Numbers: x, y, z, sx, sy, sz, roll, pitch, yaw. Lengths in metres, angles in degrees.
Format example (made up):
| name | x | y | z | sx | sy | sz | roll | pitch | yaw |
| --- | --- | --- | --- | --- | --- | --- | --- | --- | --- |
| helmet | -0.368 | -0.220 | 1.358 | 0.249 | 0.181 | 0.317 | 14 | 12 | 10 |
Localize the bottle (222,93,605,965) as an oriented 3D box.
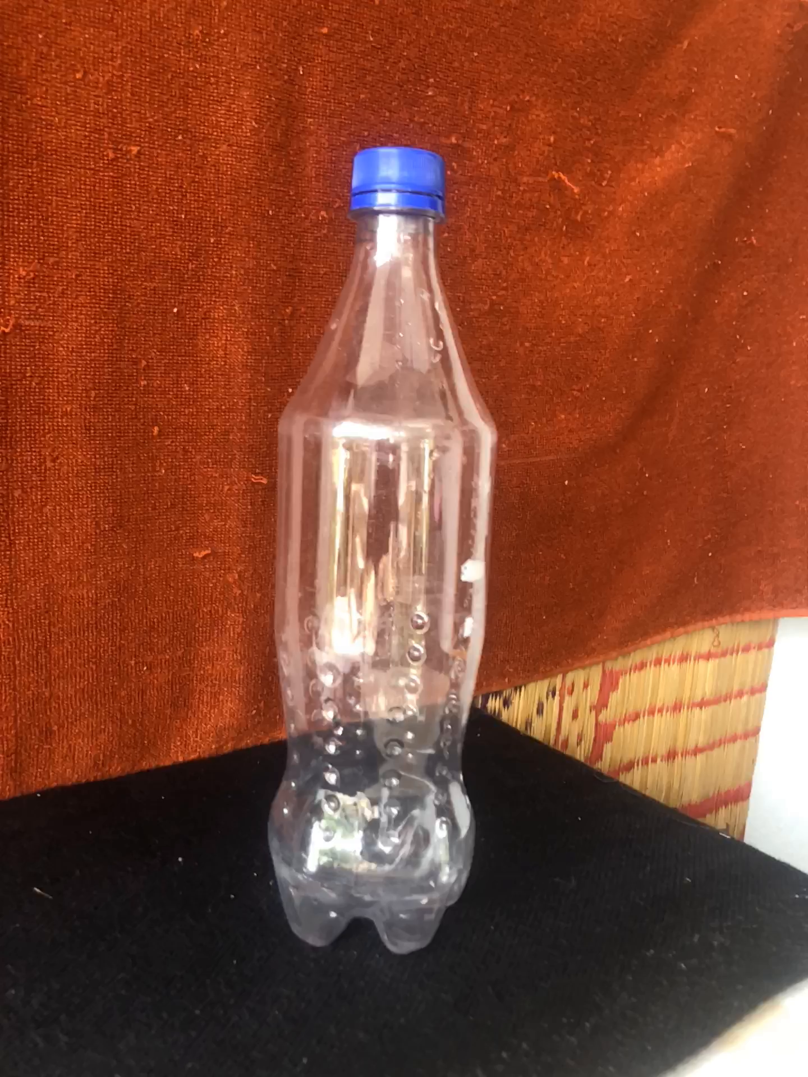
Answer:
| name | x | y | z | sx | sy | sz | roll | pitch | yaw |
| --- | --- | --- | --- | --- | --- | --- | --- | --- | --- |
| bottle | -0.003 | 0.001 | 0.296 | 0.090 | 0.249 | 0.080 | 4 | 11 | -2 |
